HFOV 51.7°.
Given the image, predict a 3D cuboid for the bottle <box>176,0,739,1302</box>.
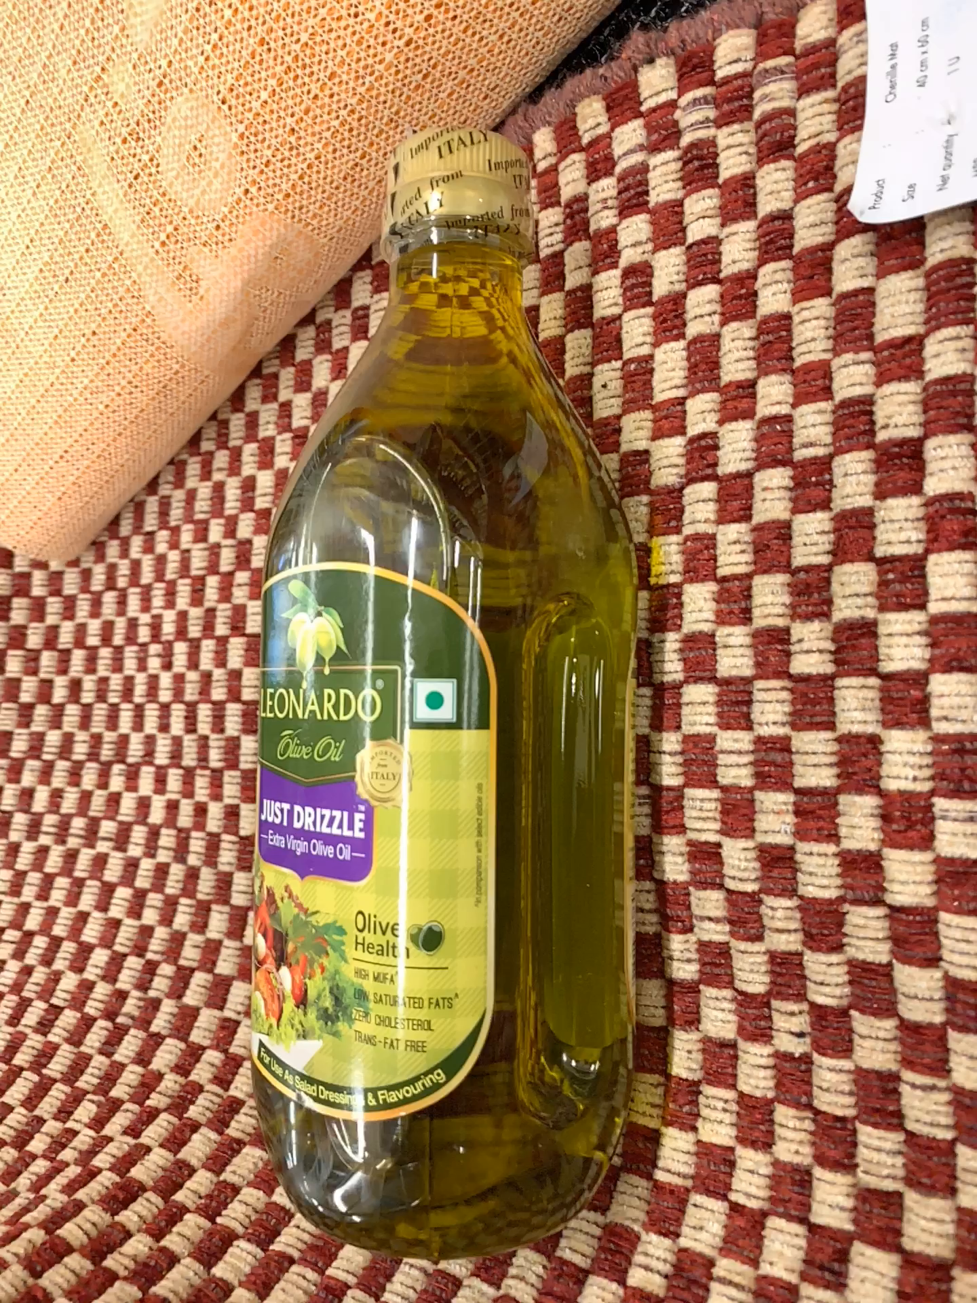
[{"bbox_3d":[-0.005,-0.008,0.220,0.080,0.070,0.240,4,89,35],"label":"bottle"}]
